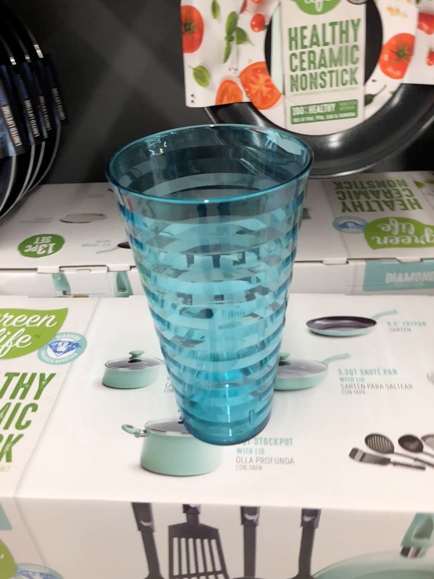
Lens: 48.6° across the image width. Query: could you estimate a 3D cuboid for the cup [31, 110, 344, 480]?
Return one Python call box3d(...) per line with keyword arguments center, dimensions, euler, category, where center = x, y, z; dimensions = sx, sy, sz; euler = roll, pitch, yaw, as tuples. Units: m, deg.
box3d(center=(-0.008, -0.002, 0.269), dimensions=(0.105, 0.151, 0.103), euler=(-2, 37, 2), category="cup")
